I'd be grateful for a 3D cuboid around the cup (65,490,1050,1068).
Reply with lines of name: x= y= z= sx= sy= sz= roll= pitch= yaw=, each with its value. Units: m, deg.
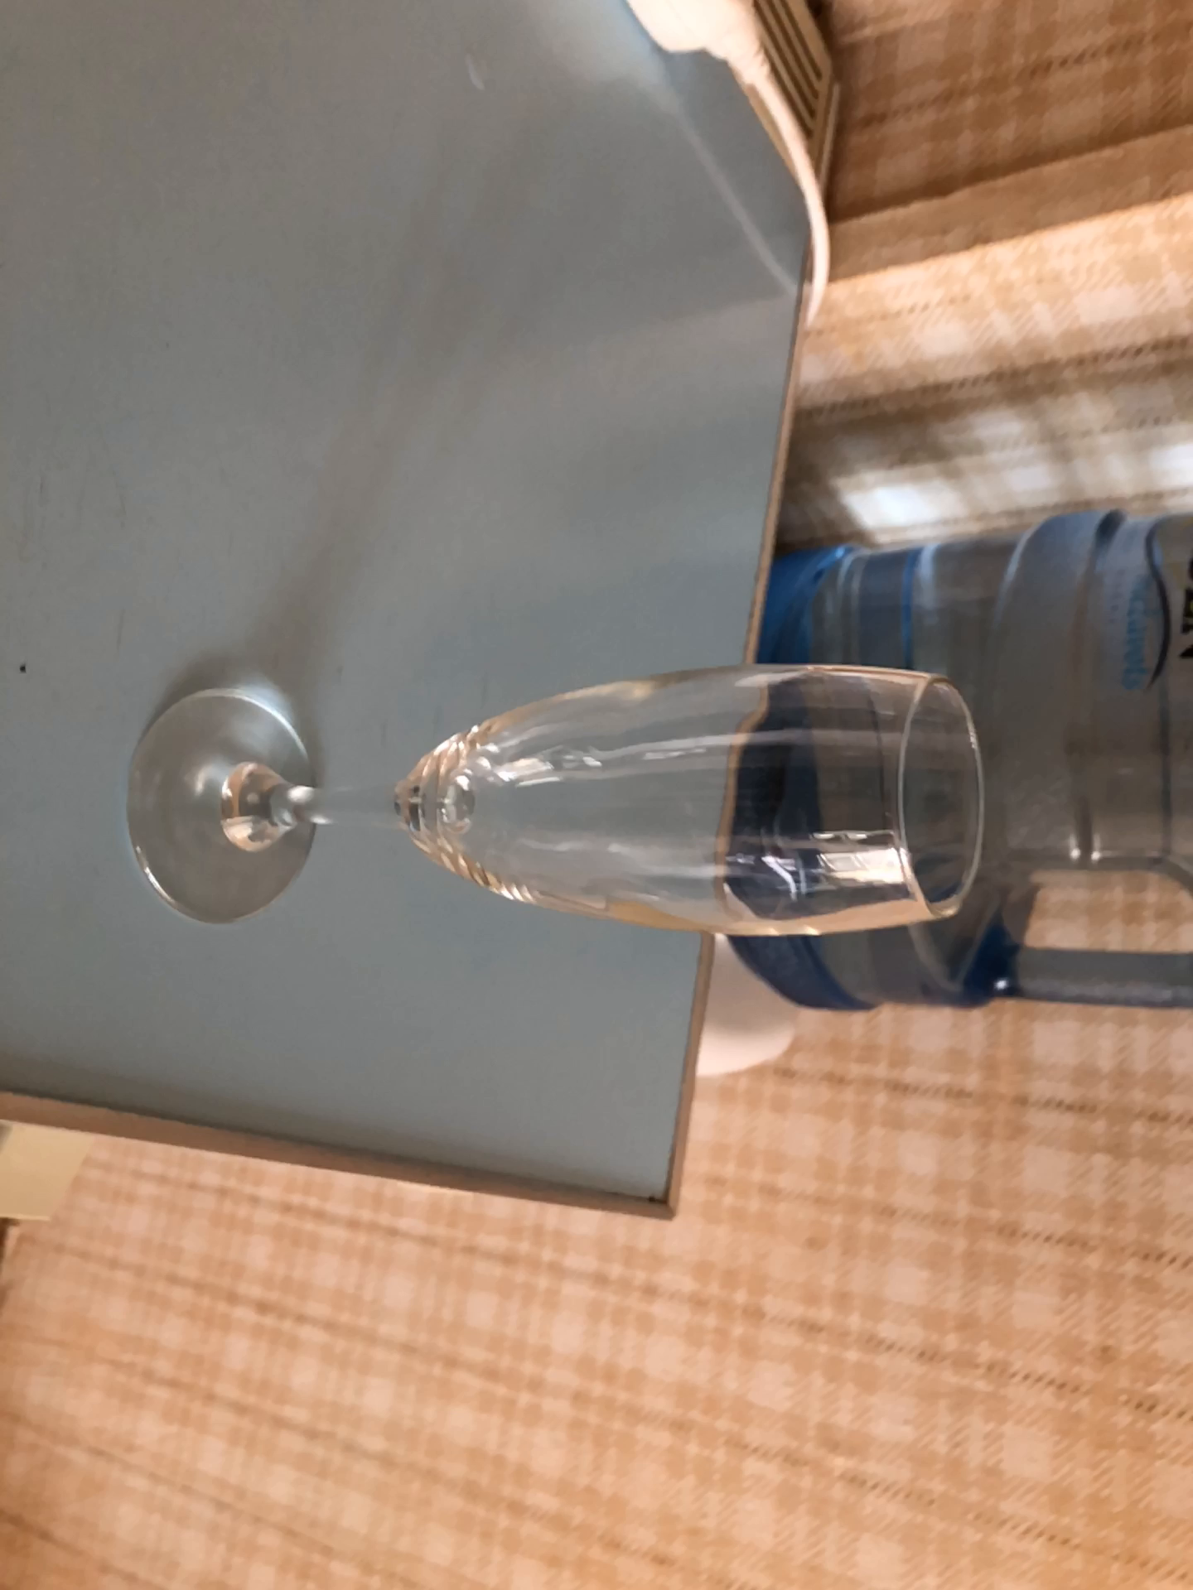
cup: x=-0.013 y=0.006 z=0.300 sx=0.090 sy=0.199 sz=0.090 roll=4 pitch=86 yaw=-56
